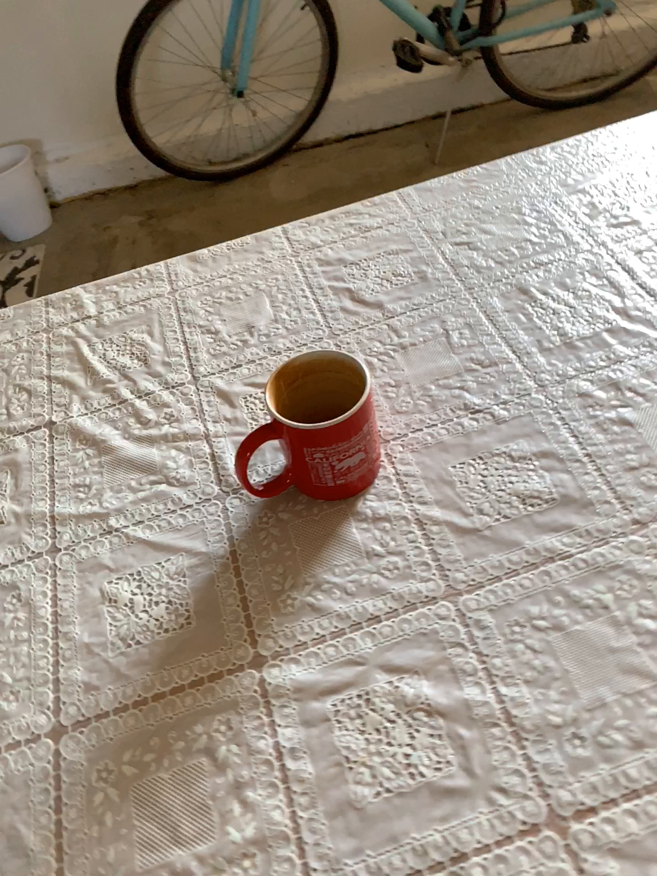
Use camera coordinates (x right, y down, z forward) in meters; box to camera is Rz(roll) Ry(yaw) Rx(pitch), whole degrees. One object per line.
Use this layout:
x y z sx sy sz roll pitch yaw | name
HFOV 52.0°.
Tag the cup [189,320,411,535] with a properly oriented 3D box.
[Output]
-0.022 -0.010 0.551 0.140 0.080 0.100 -26 53 -8 | cup
